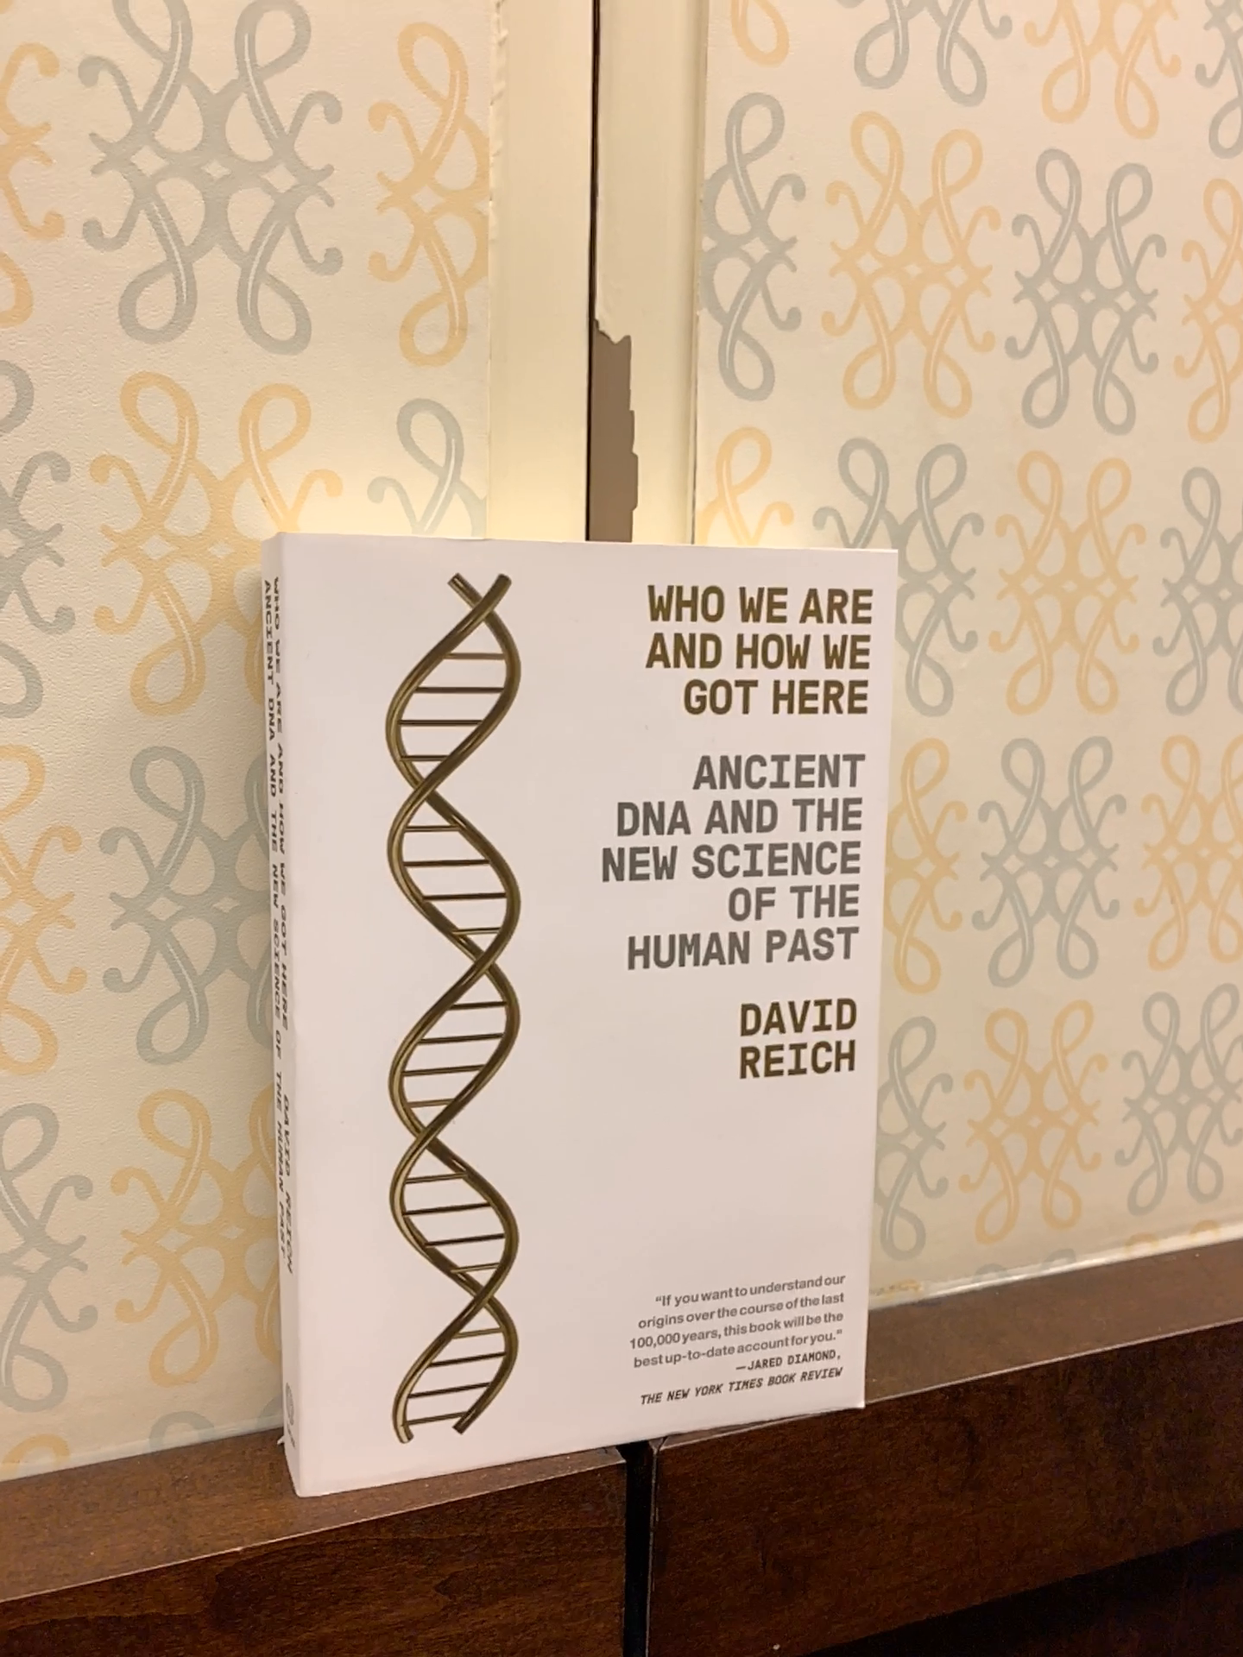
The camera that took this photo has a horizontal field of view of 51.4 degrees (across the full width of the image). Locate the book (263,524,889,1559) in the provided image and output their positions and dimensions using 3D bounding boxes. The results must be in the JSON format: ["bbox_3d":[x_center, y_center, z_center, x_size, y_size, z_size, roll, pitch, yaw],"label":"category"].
[{"bbox_3d":[-0.009,0.039,0.286,0.127,0.199,0.041,-2,7,-23],"label":"book"}]
